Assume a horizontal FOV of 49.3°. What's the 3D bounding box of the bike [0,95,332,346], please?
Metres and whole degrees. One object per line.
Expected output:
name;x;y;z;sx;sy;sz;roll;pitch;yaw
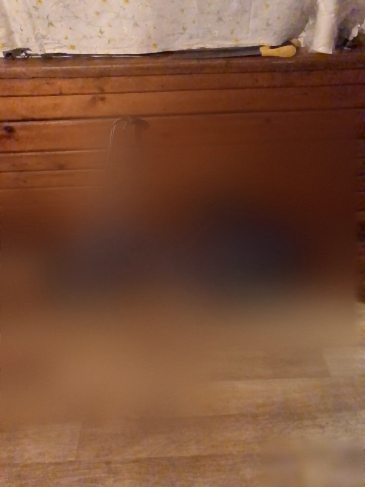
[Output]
bike;-0.058;-0.076;1.478;0.956;0.698;0.597;0;42;-1
